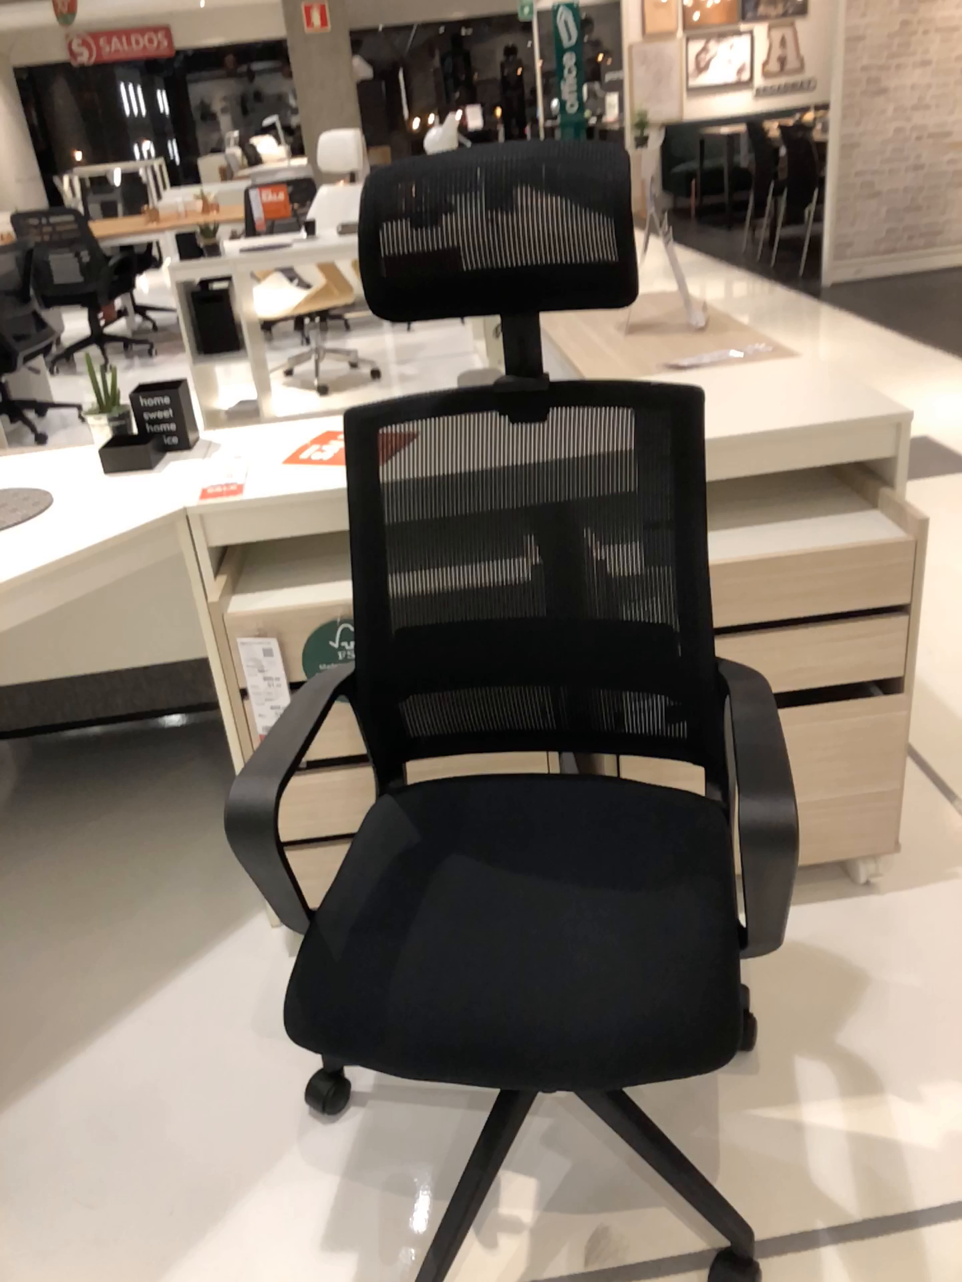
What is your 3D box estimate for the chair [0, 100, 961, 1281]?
[{"bbox_3d":[0.018,0.110,1.106,0.660,1.132,0.665,-2,27,10],"label":"chair"}]
